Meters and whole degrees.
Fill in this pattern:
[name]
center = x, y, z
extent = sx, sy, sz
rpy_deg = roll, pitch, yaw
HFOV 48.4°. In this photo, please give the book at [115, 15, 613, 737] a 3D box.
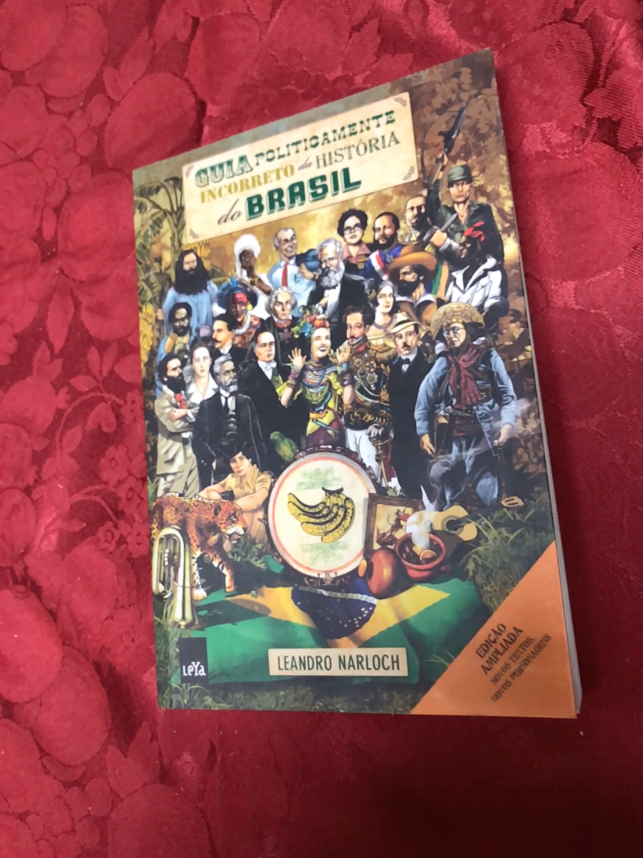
[book]
center = 0.005, -0.011, 0.268
extent = 0.160, 0.030, 0.230
rpy_deg = -9, 82, 23
